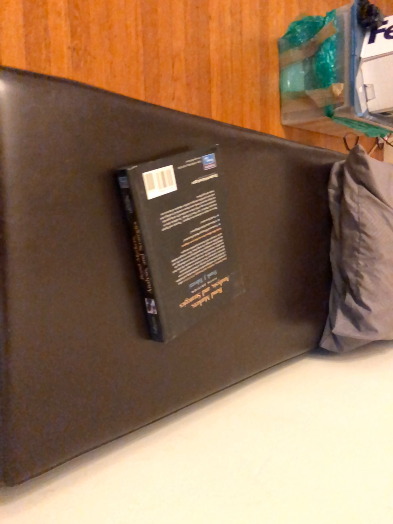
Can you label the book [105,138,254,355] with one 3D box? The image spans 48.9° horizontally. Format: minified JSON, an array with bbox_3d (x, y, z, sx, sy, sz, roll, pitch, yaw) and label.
[{"bbox_3d":[-0.009,-0.031,0.629,0.201,0.040,0.260,-28,112,-43],"label":"book"}]
